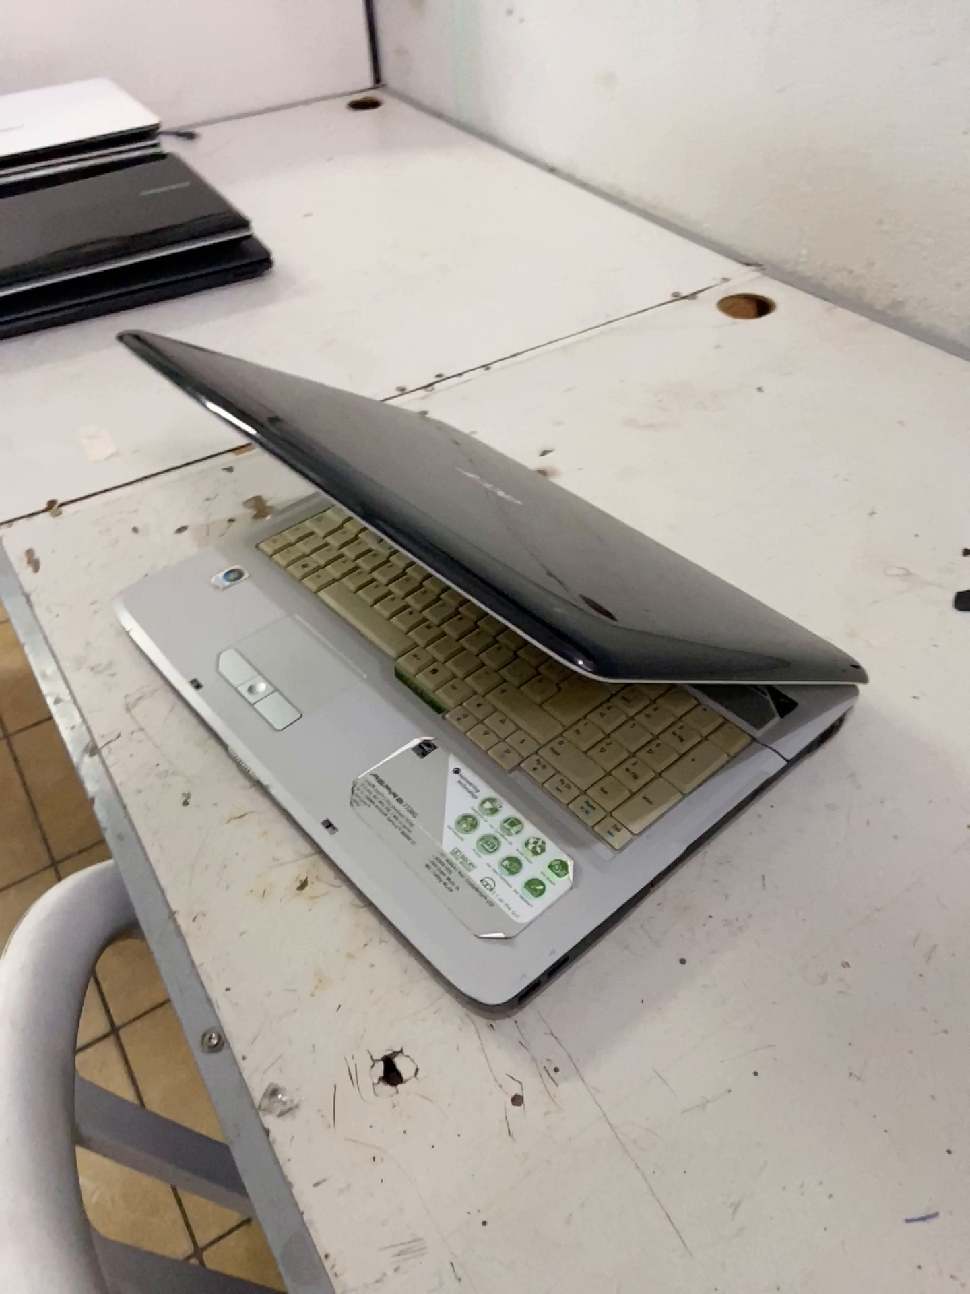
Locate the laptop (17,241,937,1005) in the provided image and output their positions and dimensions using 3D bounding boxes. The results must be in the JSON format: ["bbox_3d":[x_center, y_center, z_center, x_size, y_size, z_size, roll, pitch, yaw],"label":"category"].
[{"bbox_3d":[-0.025,-0.060,0.550,0.278,0.164,0.381,-31,47,-26],"label":"laptop"}]
